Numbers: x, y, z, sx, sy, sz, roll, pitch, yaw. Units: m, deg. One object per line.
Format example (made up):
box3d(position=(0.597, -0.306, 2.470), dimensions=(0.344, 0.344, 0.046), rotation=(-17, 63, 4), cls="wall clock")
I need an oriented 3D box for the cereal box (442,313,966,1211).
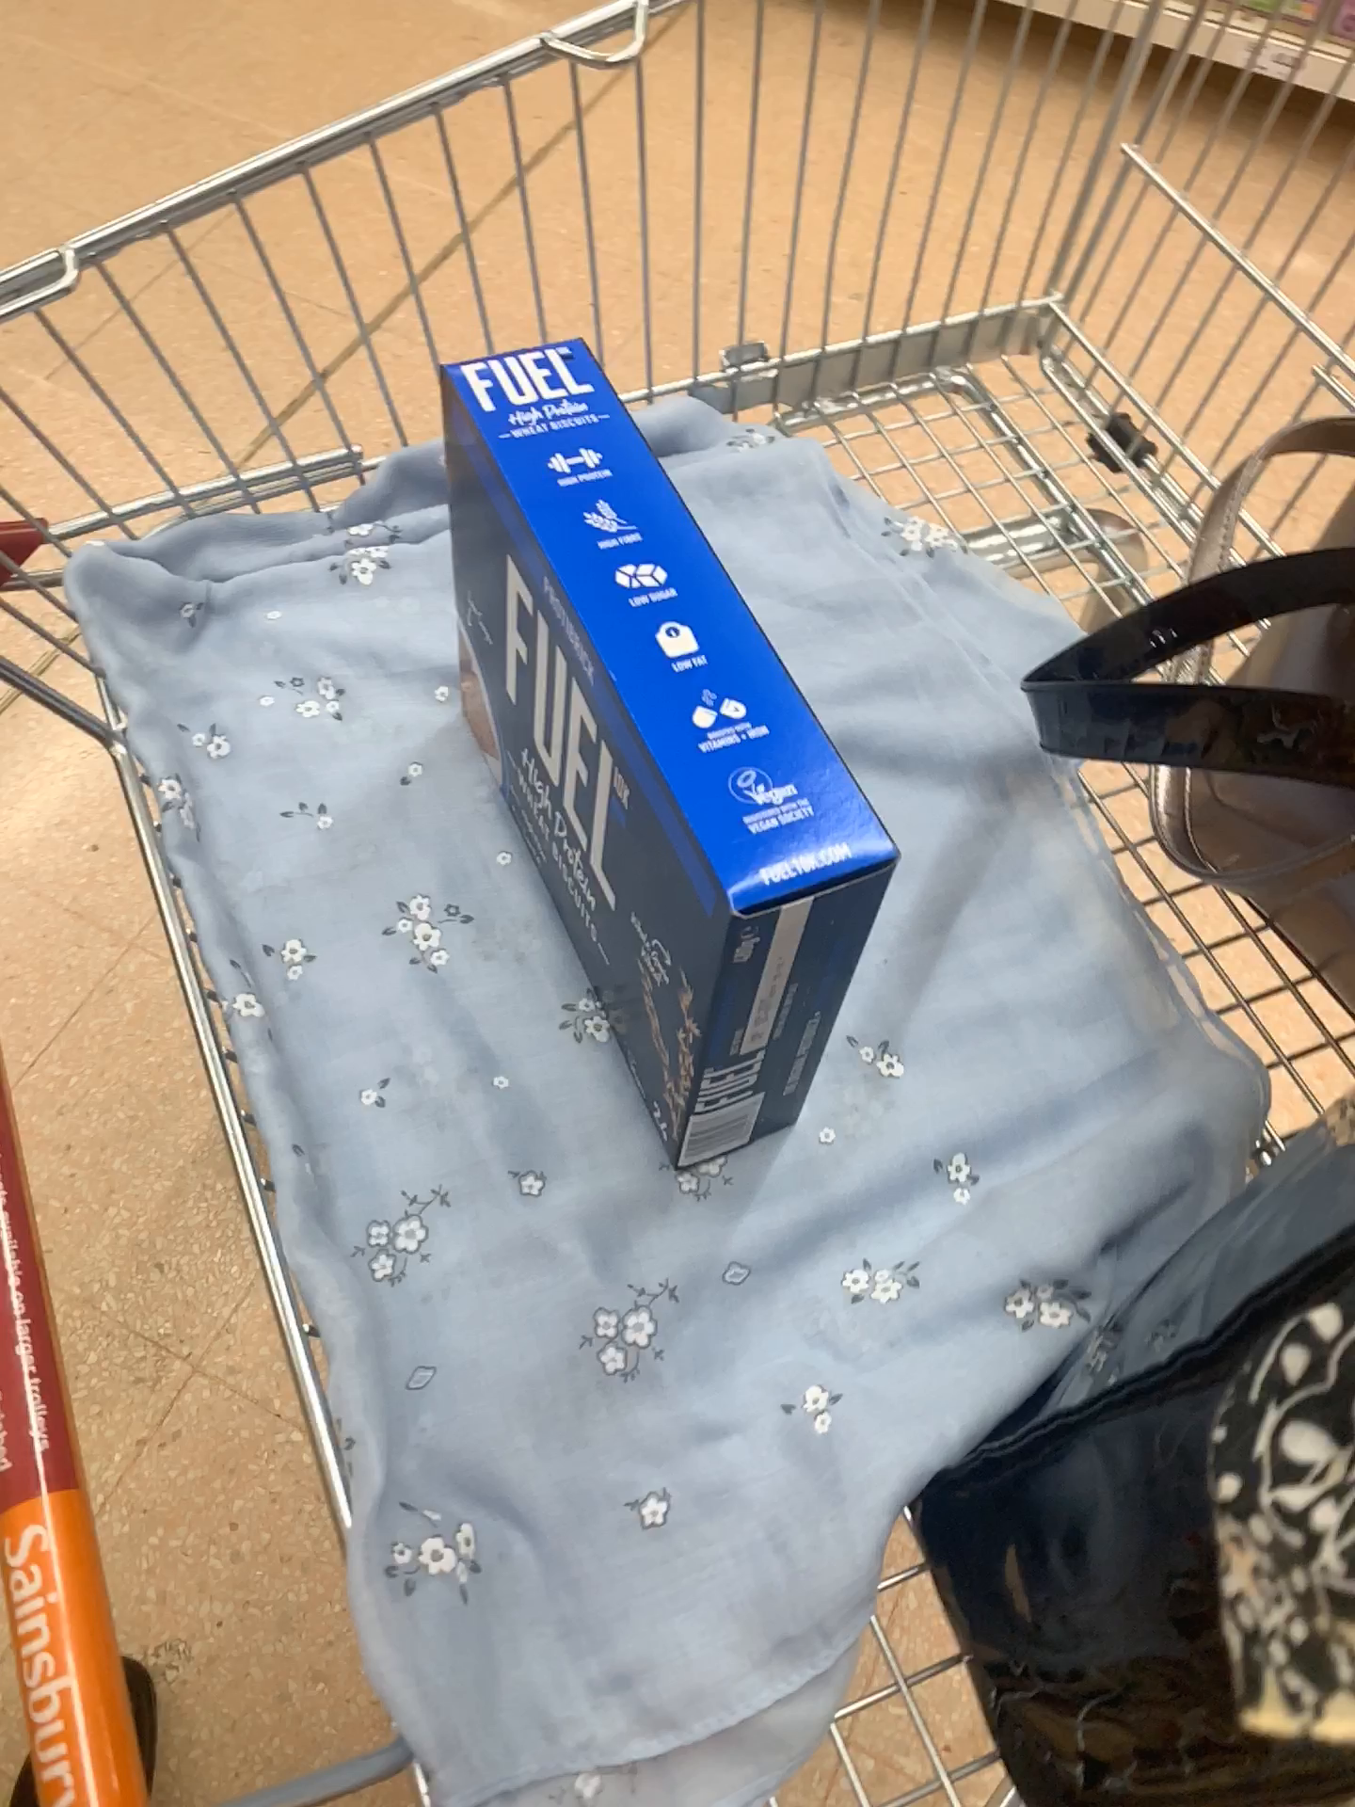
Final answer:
box3d(position=(-0.007, -0.044, 0.508), dimensions=(0.060, 0.209, 0.251), rotation=(-20, 62, -15), cls="cereal box")
